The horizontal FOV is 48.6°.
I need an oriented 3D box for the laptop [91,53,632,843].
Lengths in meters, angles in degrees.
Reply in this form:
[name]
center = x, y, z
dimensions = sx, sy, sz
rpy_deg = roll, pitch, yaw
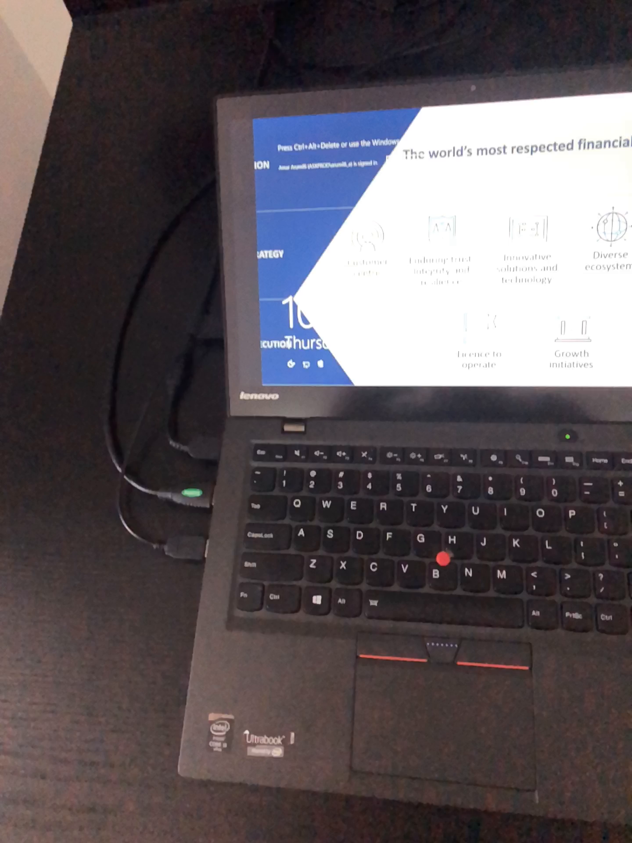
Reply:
[laptop]
center = 0.087, 0.001, 0.387
dimensions = 0.322, 0.117, 0.389
rpy_deg = 1, 69, 10
